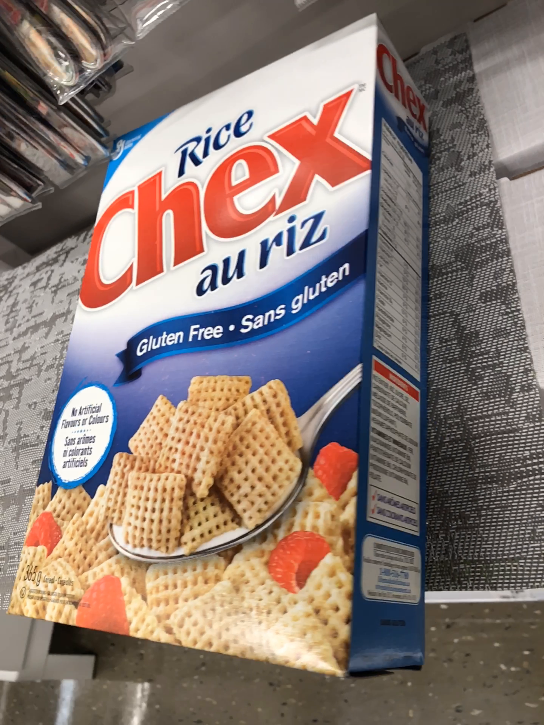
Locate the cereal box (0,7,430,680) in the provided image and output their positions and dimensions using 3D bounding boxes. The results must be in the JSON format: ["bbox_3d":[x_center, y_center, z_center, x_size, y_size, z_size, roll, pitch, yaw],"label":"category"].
[{"bbox_3d":[-0.030,-0.013,0.332,0.211,0.070,0.300,-8,65,33],"label":"cereal box"}]
